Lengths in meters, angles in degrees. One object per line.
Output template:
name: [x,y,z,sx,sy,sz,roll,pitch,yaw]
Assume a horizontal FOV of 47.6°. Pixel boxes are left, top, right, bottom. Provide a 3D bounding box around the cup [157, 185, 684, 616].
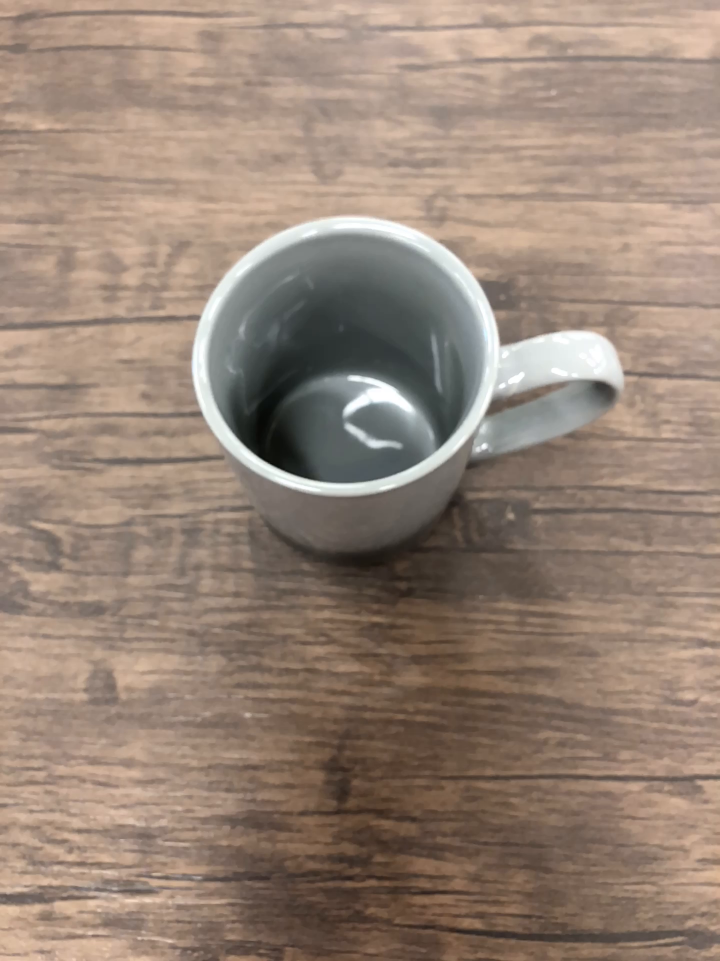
cup: [0.013,-0.018,0.274,0.130,0.110,0.090,-8,71,-3]
